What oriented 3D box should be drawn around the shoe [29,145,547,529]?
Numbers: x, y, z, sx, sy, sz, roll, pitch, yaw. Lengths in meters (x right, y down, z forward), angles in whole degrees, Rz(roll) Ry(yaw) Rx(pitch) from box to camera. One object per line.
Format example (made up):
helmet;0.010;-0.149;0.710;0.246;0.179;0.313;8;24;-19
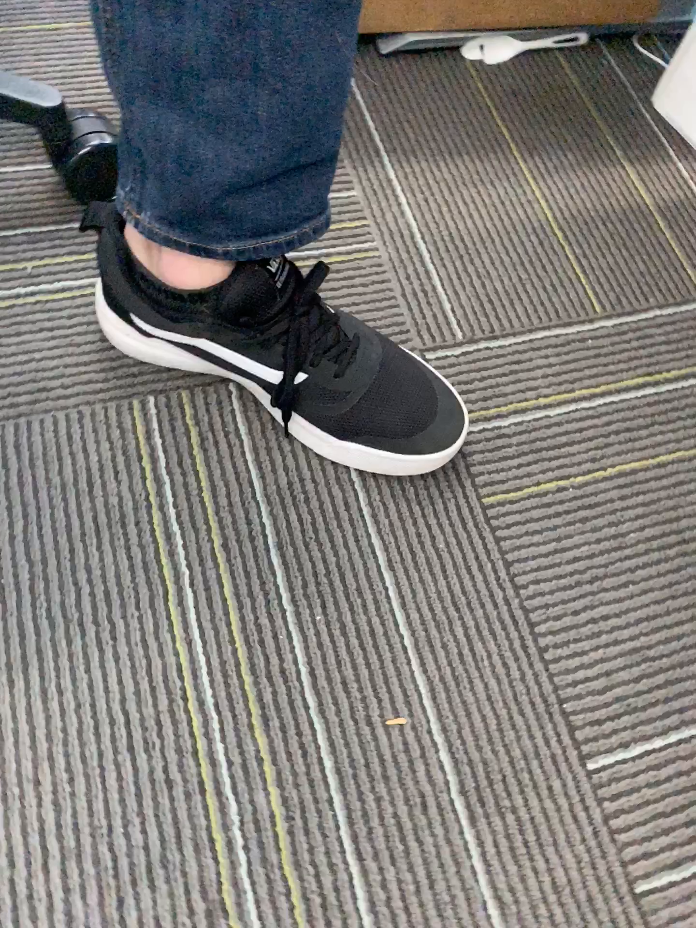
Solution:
shoe;-0.041;-0.090;0.520;0.320;0.110;0.120;25;64;5
